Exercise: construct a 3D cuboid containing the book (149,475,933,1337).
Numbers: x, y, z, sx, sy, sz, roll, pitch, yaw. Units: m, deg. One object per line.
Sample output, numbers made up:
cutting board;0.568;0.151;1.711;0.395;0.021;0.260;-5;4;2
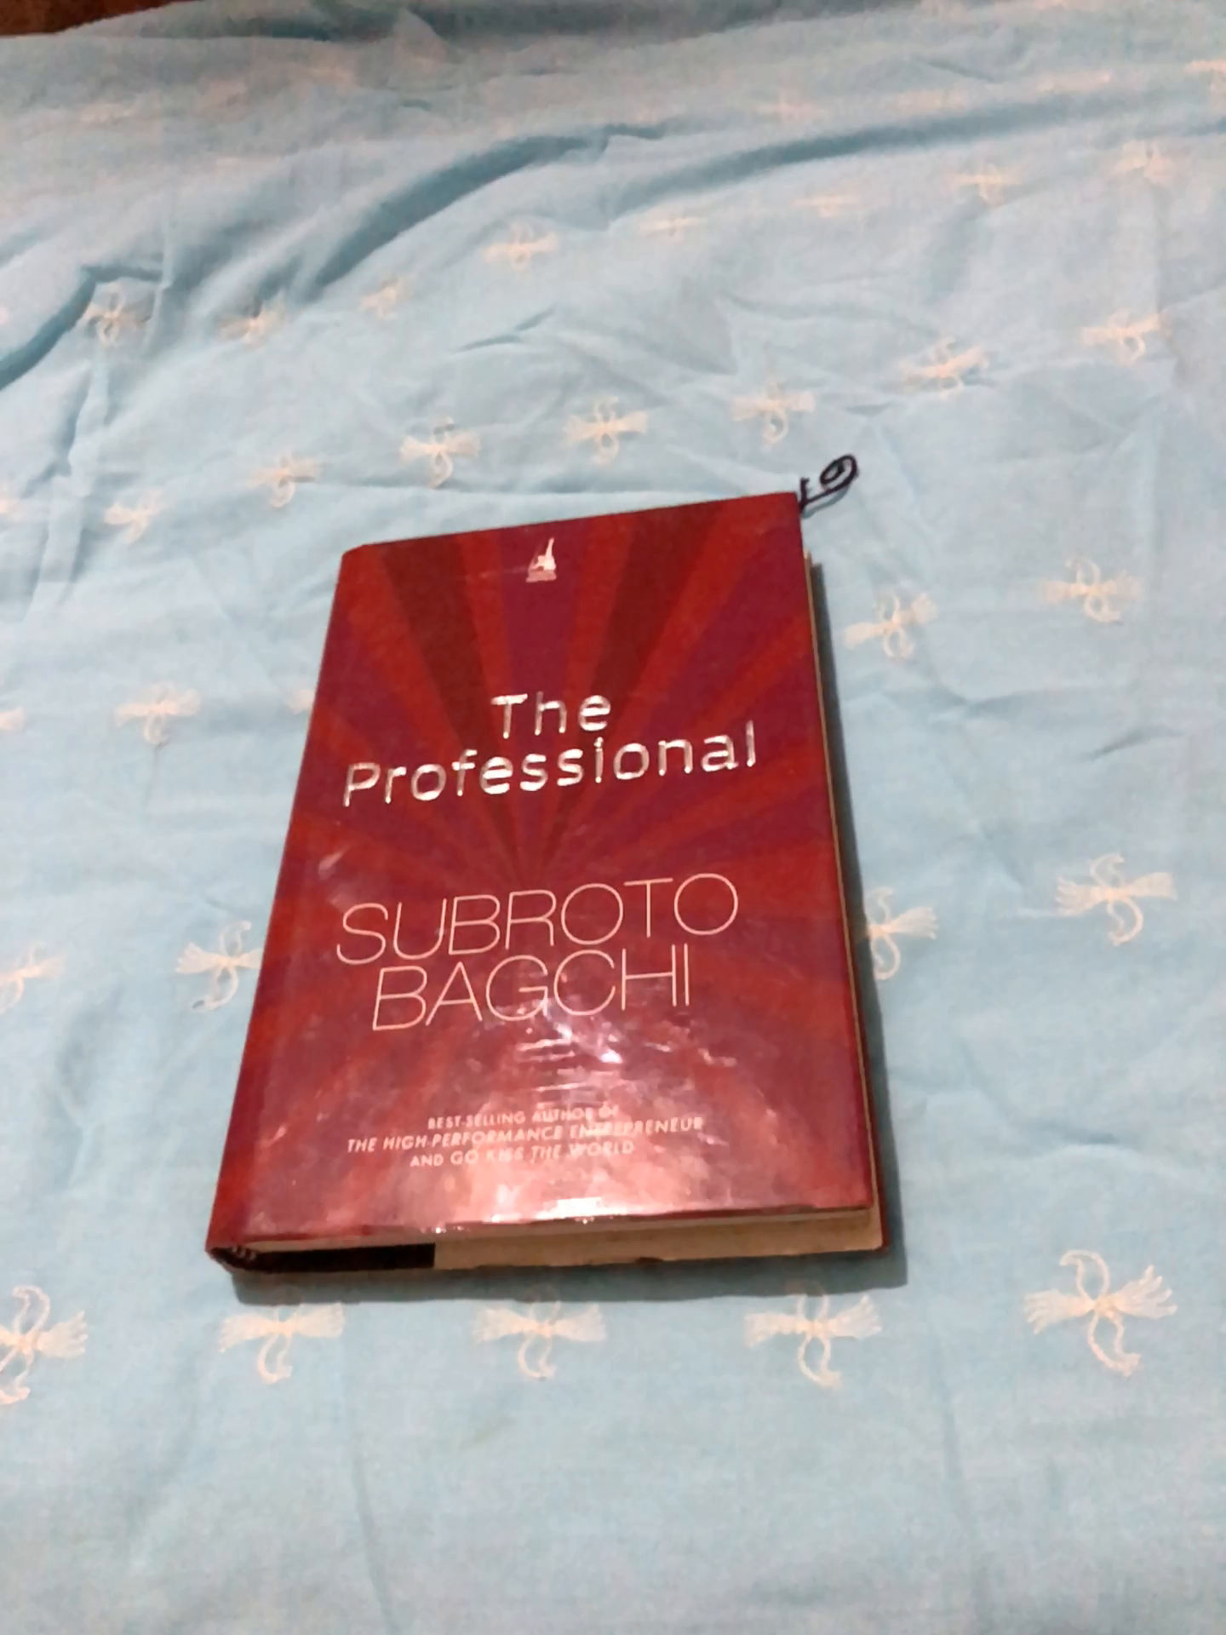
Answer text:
book;-0.011;0.008;0.335;0.150;0.030;0.221;-4;53;8
